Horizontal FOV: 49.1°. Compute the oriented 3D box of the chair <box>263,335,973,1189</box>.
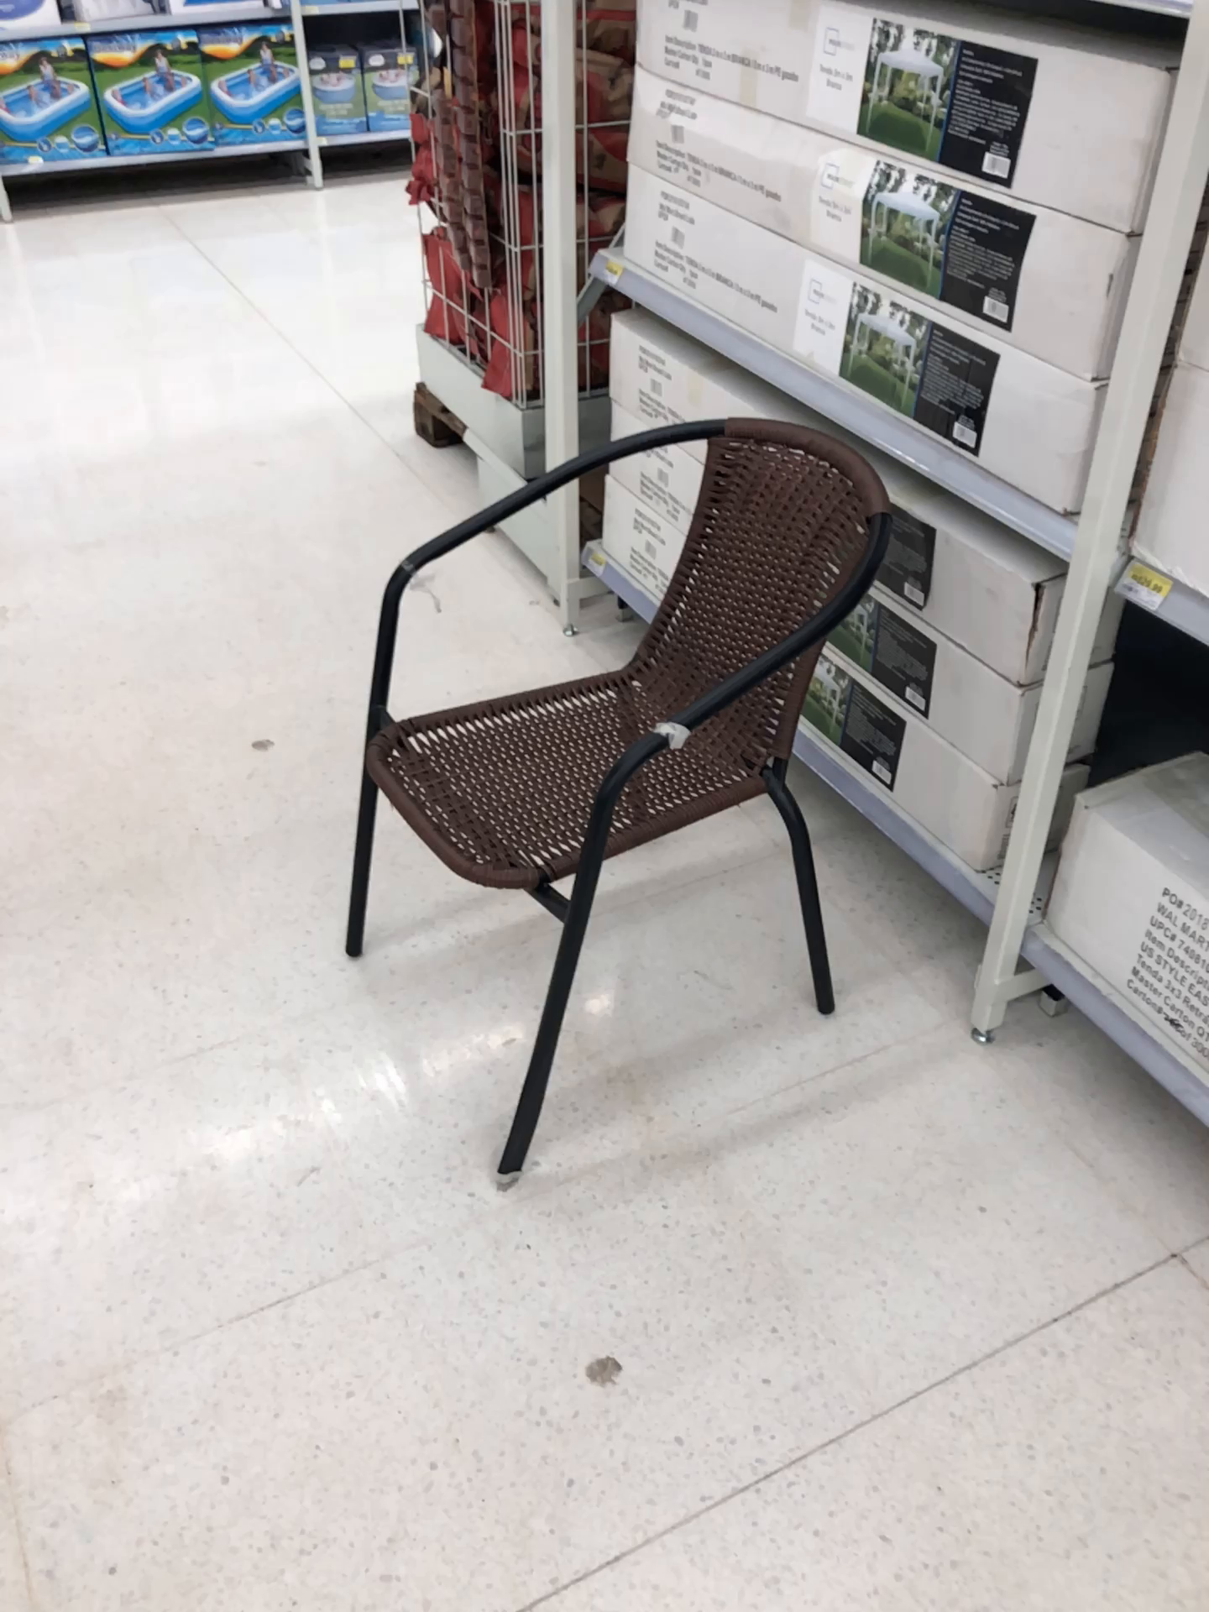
[{"bbox_3d":[0.004,-0.074,1.535,0.531,0.715,0.482,-22,42,-27],"label":"chair"}]
